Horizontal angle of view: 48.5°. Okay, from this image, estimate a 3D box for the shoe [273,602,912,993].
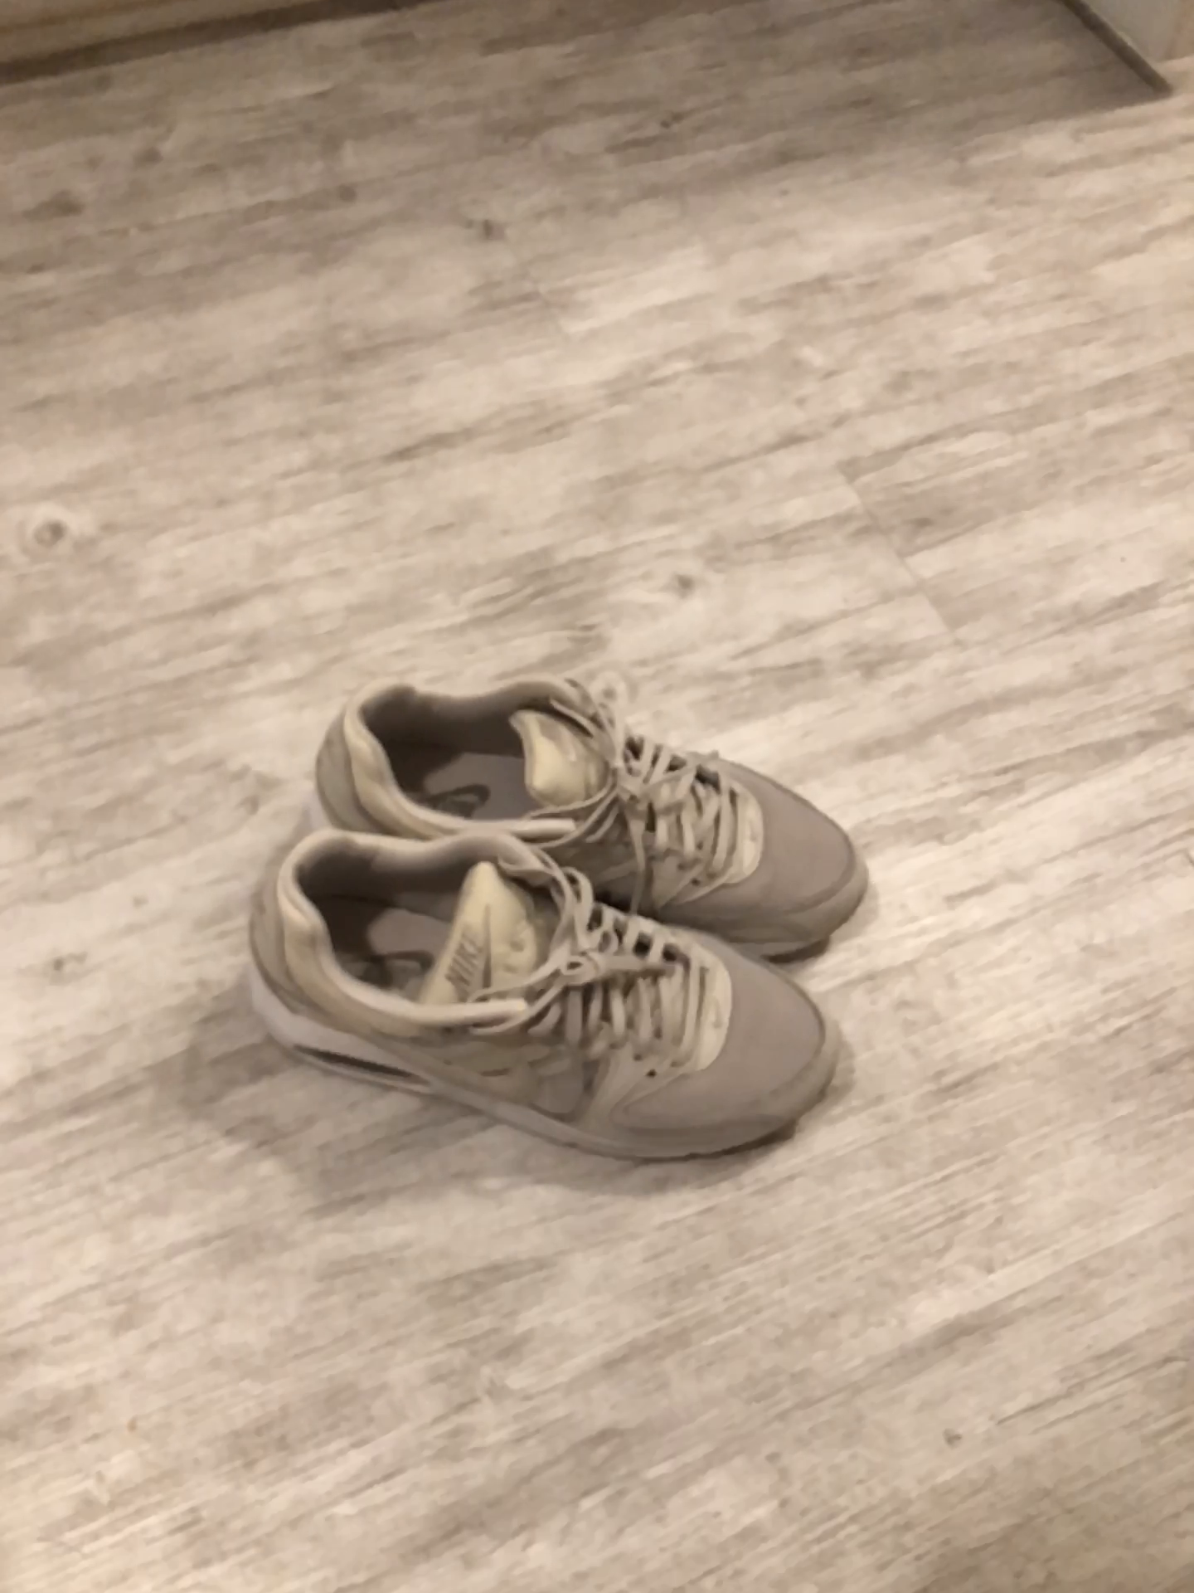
[{"bbox_3d":[0.001,0.004,0.591,0.250,0.120,0.100,7,60,1],"label":"shoe"}]

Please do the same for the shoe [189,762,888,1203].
[{"bbox_3d":[-0.022,0.081,0.554,0.250,0.120,0.090,13,60,5],"label":"shoe"}]
